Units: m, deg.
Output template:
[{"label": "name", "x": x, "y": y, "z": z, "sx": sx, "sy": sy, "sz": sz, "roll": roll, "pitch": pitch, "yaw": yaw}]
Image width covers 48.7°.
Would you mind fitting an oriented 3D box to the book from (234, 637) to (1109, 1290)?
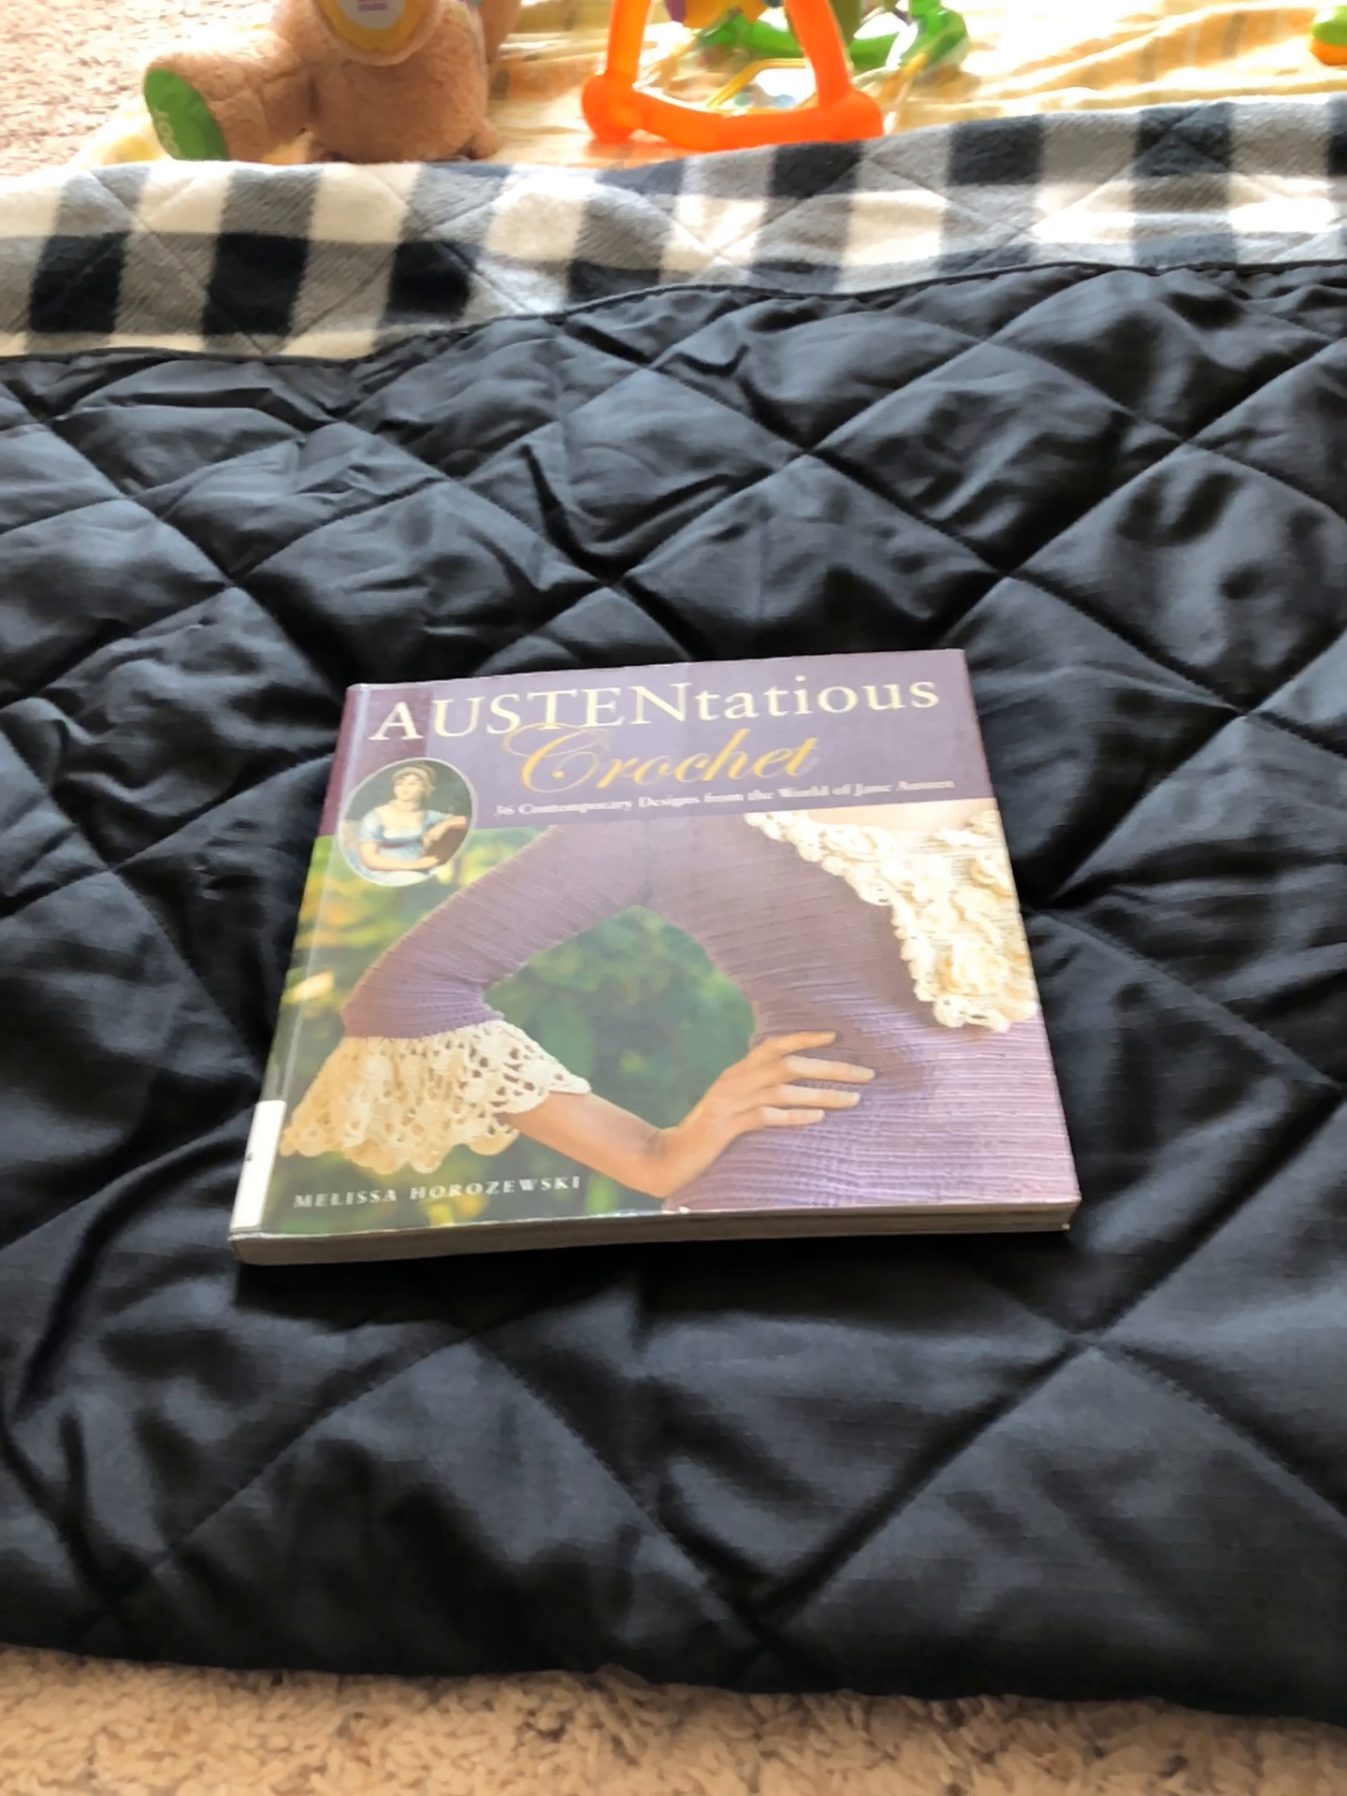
[{"label": "book", "x": -0.002, "y": 0.006, "z": 0.459, "sx": 0.220, "sy": 0.020, "sz": 0.230, "roll": -4, "pitch": 47, "yaw": 4}]
